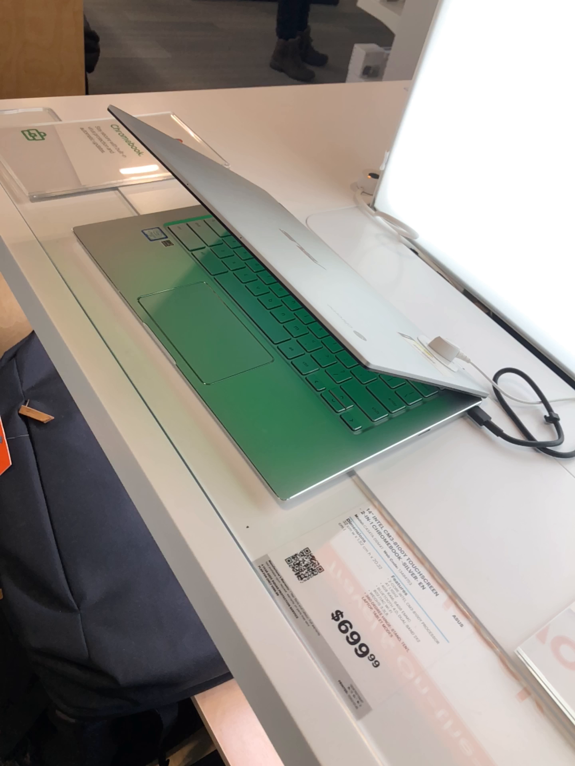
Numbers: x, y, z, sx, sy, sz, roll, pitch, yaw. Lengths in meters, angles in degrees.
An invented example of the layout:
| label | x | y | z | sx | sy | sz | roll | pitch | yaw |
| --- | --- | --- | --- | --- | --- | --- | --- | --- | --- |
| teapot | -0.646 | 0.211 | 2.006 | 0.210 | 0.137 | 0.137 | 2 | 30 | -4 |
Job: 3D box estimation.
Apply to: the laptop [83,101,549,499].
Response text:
| label | x | y | z | sx | sy | sz | roll | pitch | yaw |
| --- | --- | --- | --- | --- | --- | --- | --- | --- | --- |
| laptop | -0.002 | -0.094 | 0.482 | 0.193 | 0.102 | 0.312 | -19 | 53 | -31 |
